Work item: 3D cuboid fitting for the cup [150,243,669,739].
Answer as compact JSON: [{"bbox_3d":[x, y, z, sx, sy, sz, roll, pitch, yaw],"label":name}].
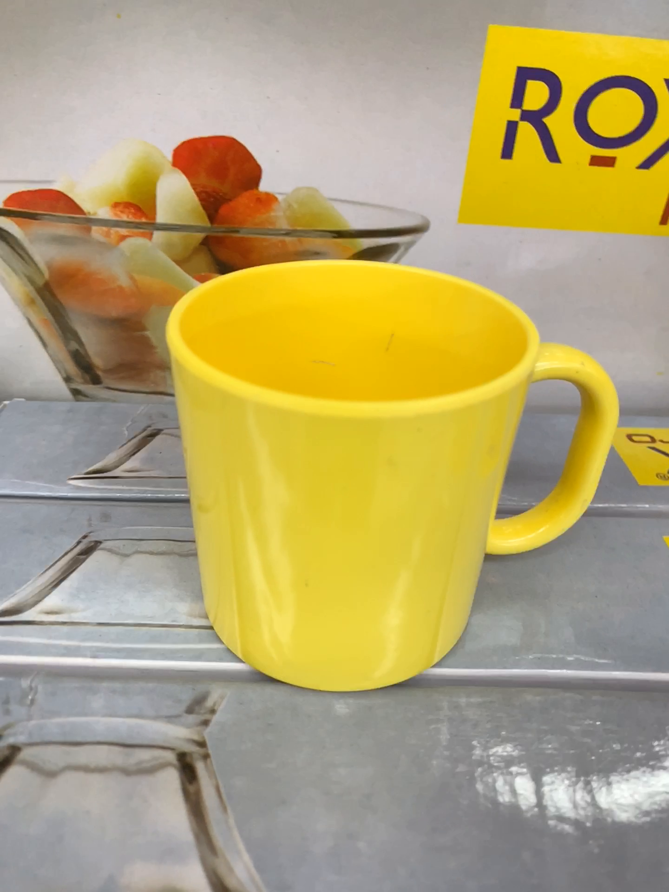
[{"bbox_3d":[0.013,0.005,0.160,0.100,0.079,0.071,-2,33,-11],"label":"cup"}]
